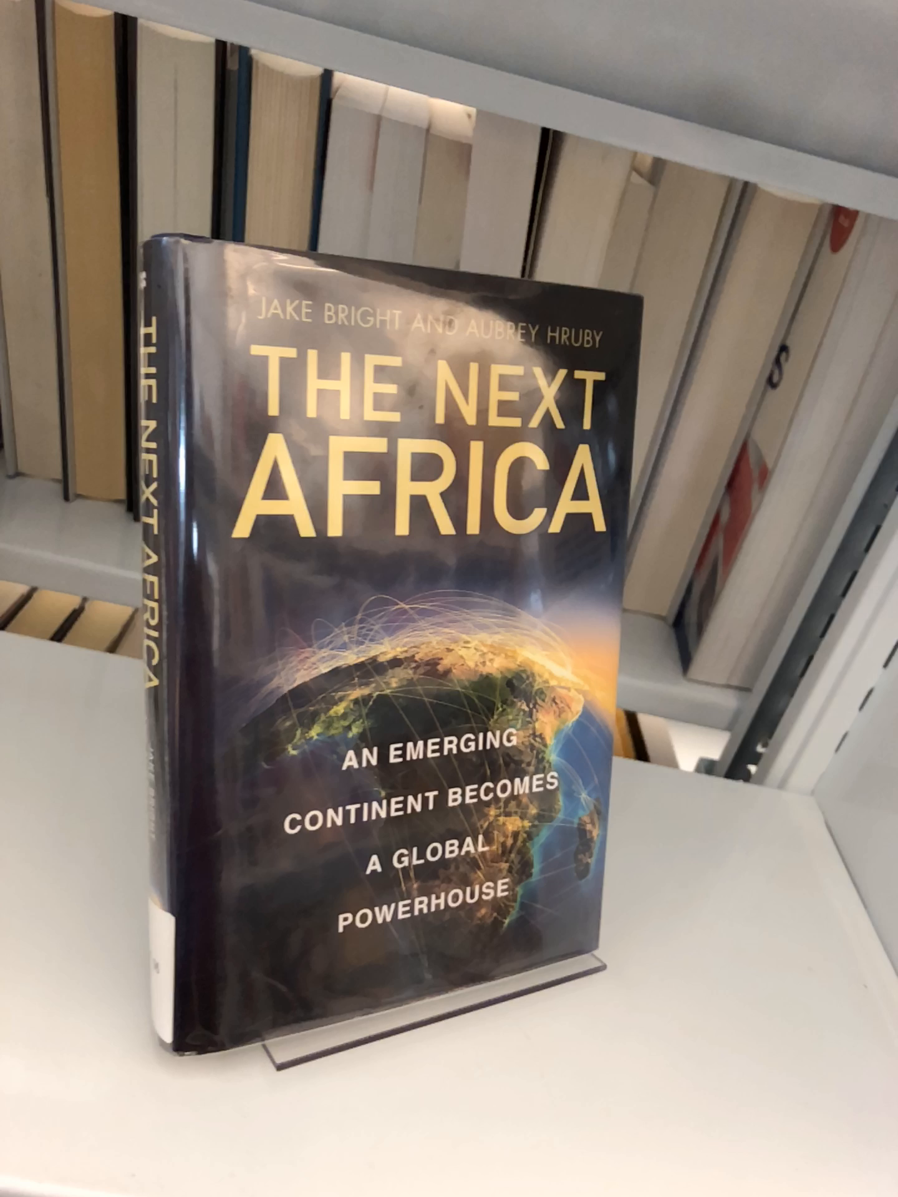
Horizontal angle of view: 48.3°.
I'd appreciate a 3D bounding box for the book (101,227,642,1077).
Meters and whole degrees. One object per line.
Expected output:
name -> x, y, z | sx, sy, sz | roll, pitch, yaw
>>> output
book -> -0.019, 0.014, 0.295 | 0.153, 0.211, 0.030 | -3, 9, -30
